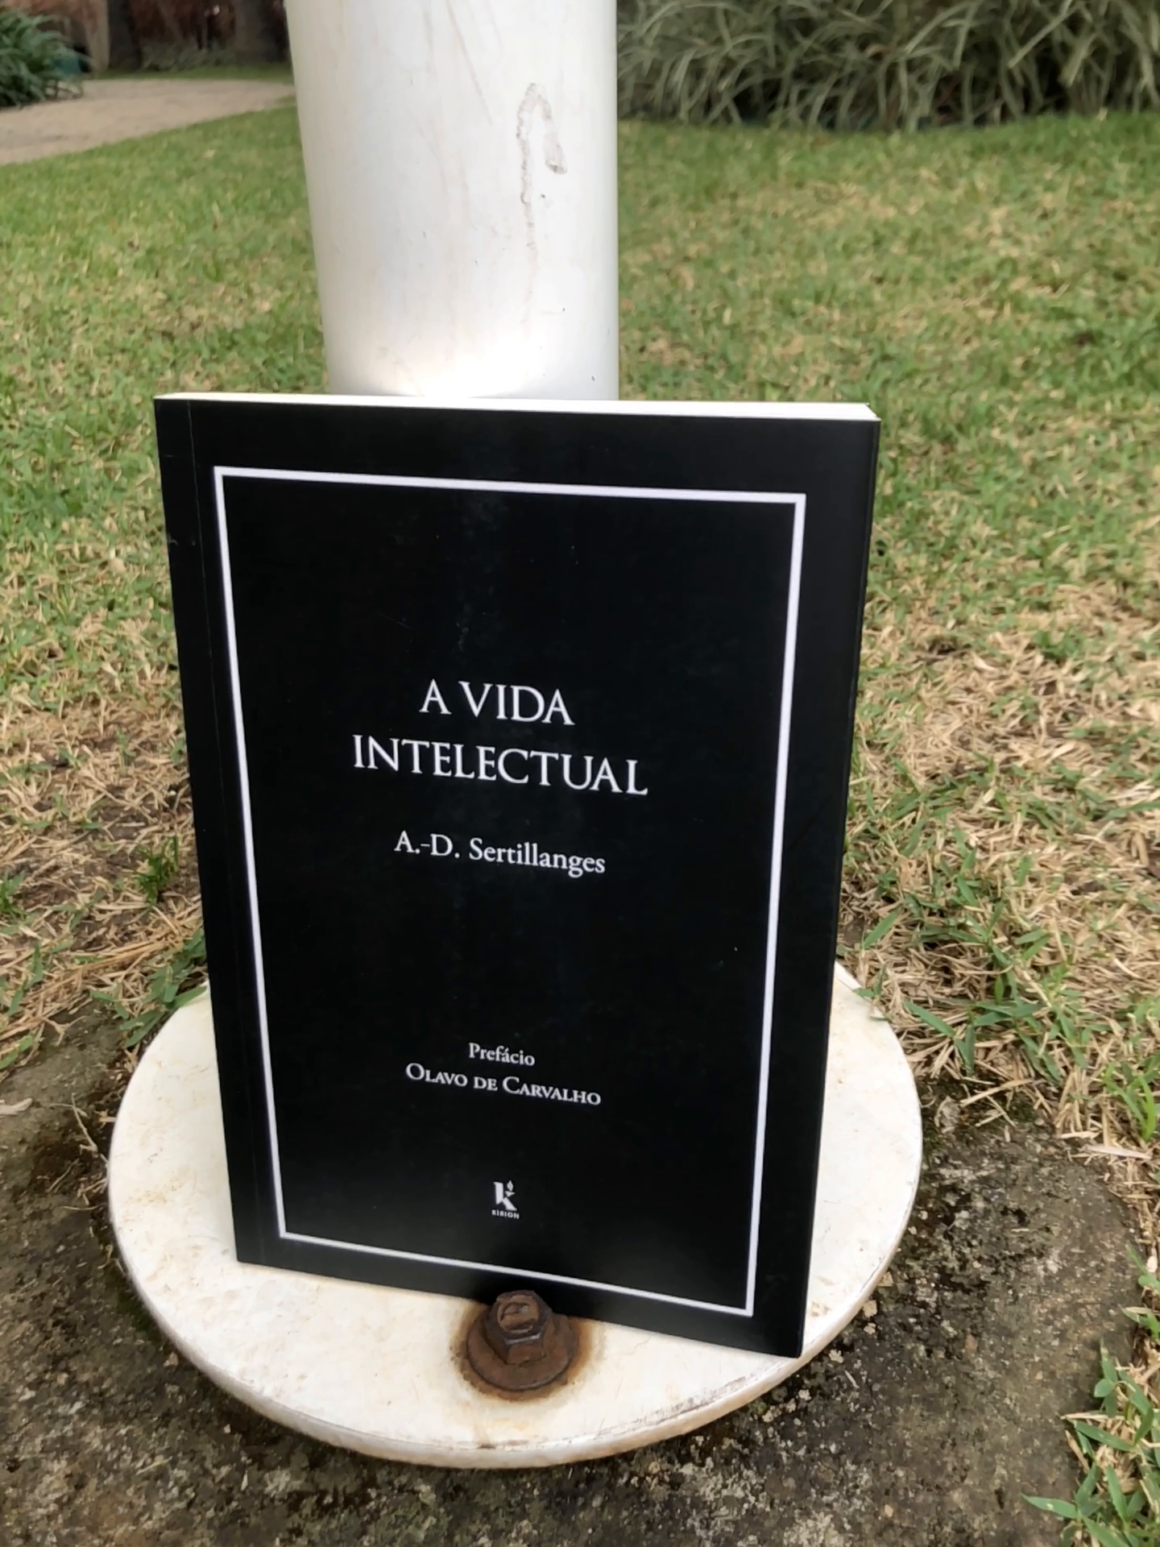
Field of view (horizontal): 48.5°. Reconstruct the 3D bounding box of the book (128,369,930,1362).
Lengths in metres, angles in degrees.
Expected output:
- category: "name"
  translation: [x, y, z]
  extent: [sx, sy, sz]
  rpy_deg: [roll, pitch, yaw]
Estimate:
- category: "book"
  translation: [-0.011, 0.021, 0.261]
  extent: [0.140, 0.193, 0.025]
  rpy_deg: [5, 20, 13]
